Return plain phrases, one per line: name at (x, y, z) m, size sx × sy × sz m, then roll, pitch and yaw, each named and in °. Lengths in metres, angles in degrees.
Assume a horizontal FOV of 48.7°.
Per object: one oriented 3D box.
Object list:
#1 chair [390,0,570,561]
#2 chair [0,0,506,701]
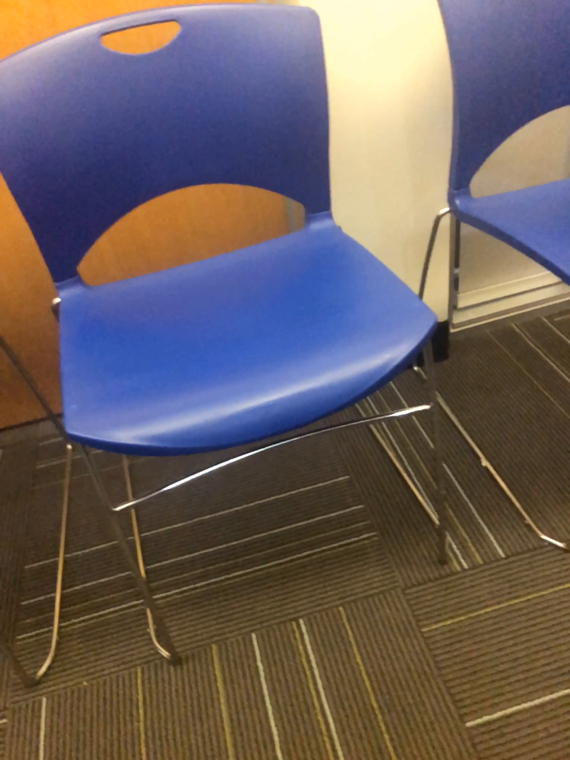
chair at (0.546, -0.265, 1.005) m, size 0.540 × 0.774 × 0.594 m, roll -14°, pitch 36°, yaw -7°
chair at (-0.089, -0.096, 0.998) m, size 0.521 × 0.853 × 0.635 m, roll -15°, pitch 36°, yaw -8°
